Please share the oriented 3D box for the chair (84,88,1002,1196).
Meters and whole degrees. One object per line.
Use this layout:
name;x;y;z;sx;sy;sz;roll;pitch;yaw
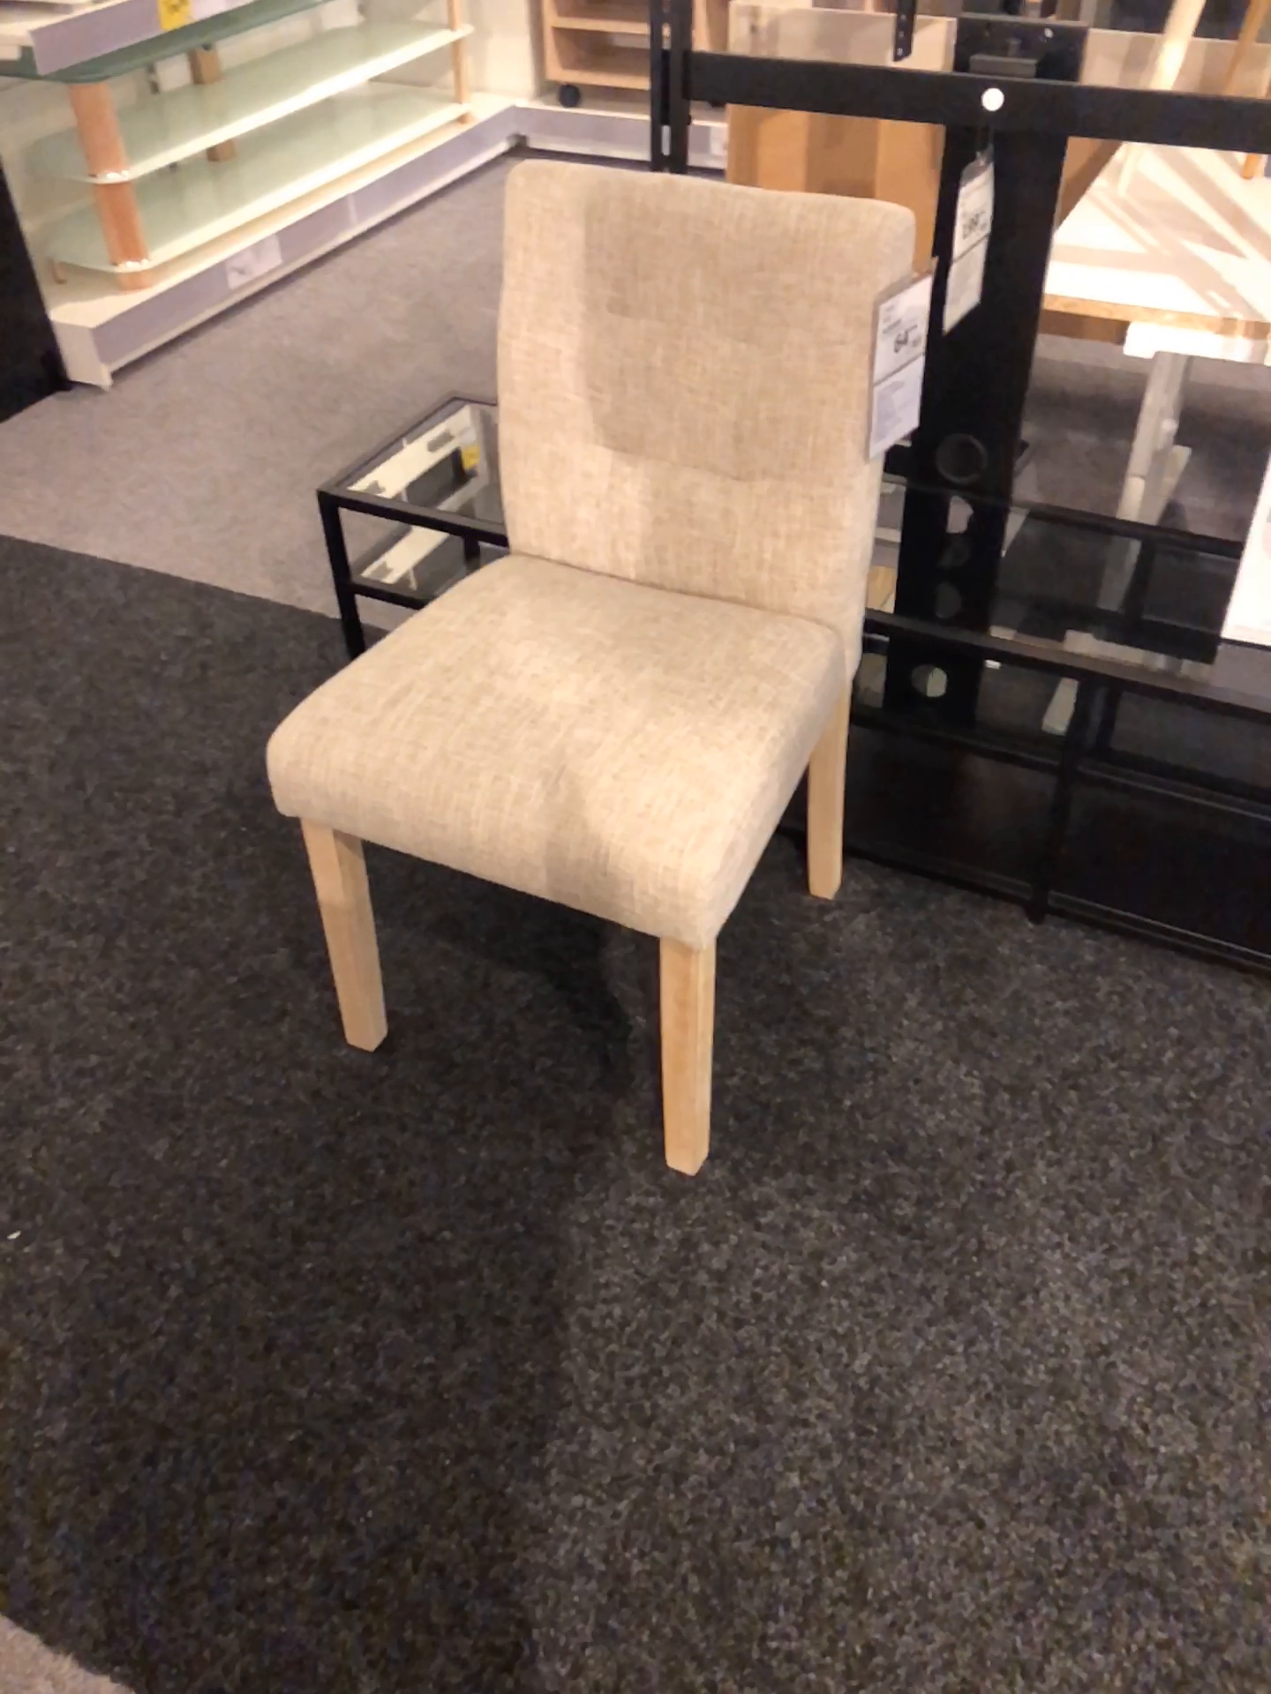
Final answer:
chair;-0.037;-0.209;1.425;0.550;0.855;0.564;17;45;20
